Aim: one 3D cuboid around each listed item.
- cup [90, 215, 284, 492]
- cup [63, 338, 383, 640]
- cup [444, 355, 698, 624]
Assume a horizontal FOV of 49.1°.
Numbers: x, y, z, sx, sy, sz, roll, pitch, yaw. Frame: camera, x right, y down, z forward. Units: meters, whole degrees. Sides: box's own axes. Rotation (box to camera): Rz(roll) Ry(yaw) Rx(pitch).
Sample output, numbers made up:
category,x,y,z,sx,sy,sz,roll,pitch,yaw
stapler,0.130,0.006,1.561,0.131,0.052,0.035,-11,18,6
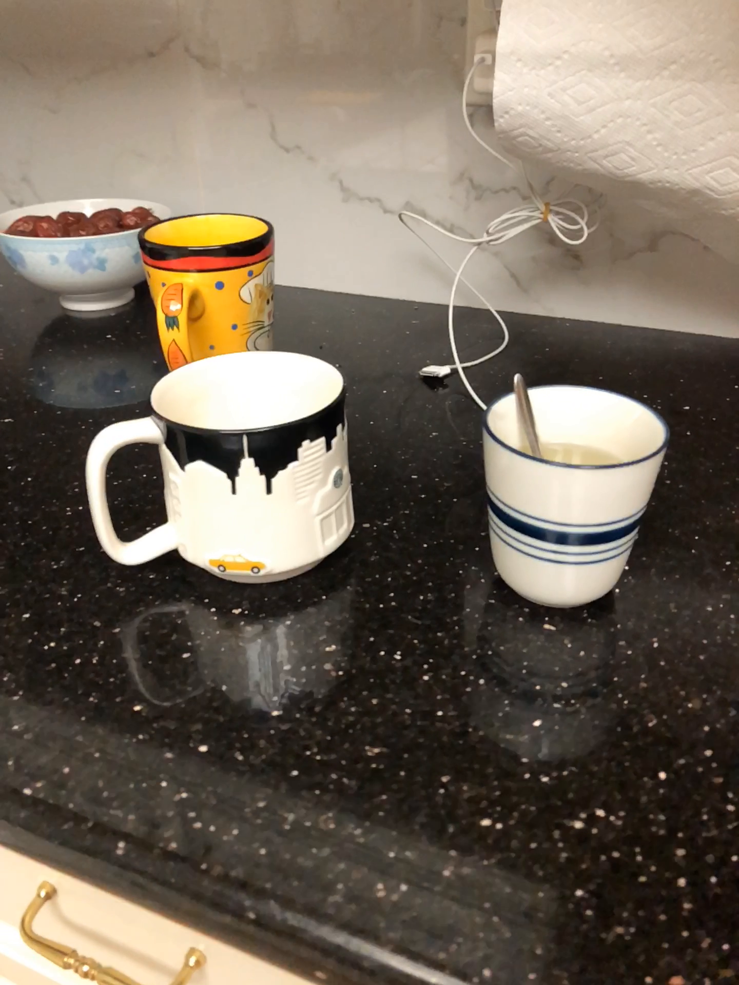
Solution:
category,x,y,z,sx,sy,sz,roll,pitch,yaw
cup,-0.115,-0.099,0.558,0.090,0.149,0.131,-1,31,0
cup,-0.081,-0.009,0.461,0.150,0.109,0.100,-12,33,-19
cup,0.101,-0.004,0.443,0.100,0.109,0.091,-4,31,-5
